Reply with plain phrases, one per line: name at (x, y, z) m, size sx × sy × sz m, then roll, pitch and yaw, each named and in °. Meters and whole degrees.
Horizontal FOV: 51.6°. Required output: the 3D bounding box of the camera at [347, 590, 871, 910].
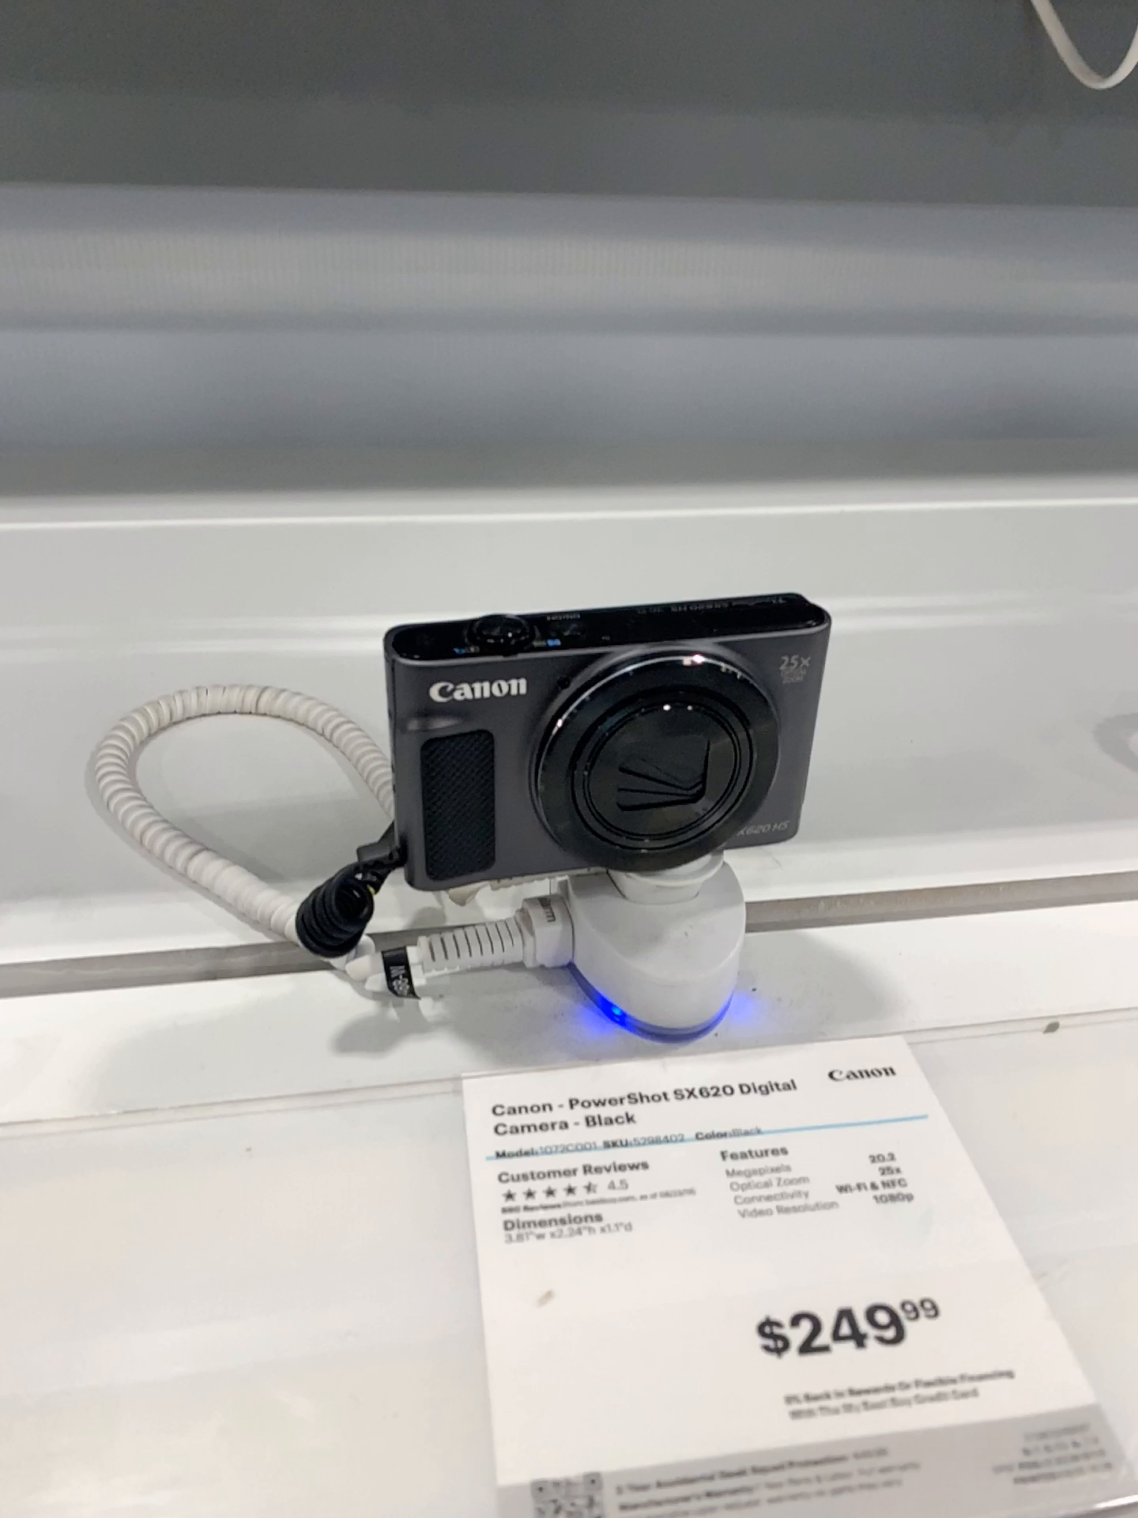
camera at (0.006, -0.004, 0.247) m, size 0.100 × 0.050 × 0.031 m, roll -5°, pitch 31°, yaw -14°
